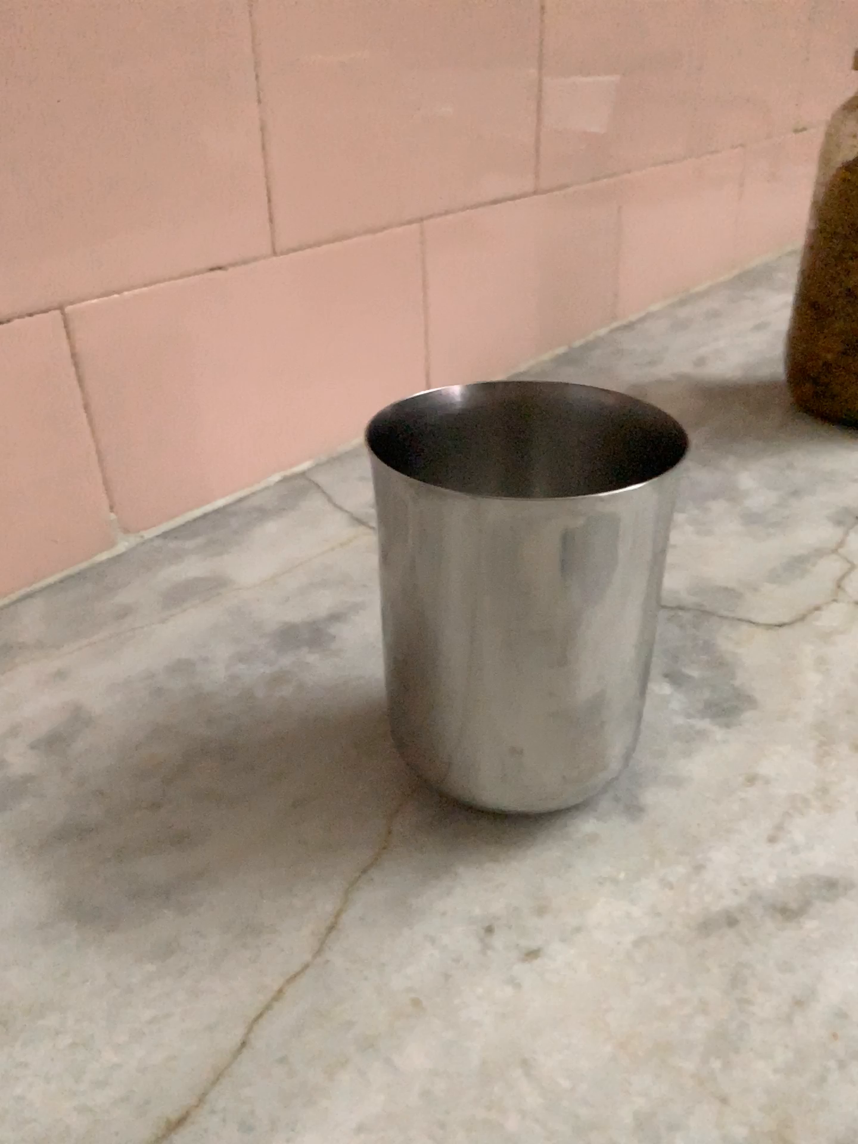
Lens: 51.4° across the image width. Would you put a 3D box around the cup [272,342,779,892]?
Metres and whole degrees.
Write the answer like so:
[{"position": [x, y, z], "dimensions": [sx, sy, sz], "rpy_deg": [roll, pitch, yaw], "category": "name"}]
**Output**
[{"position": [0.021, 0.003, 0.222], "dimensions": [0.080, 0.090, 0.080], "rpy_deg": [-2, 30, 1], "category": "cup"}]
